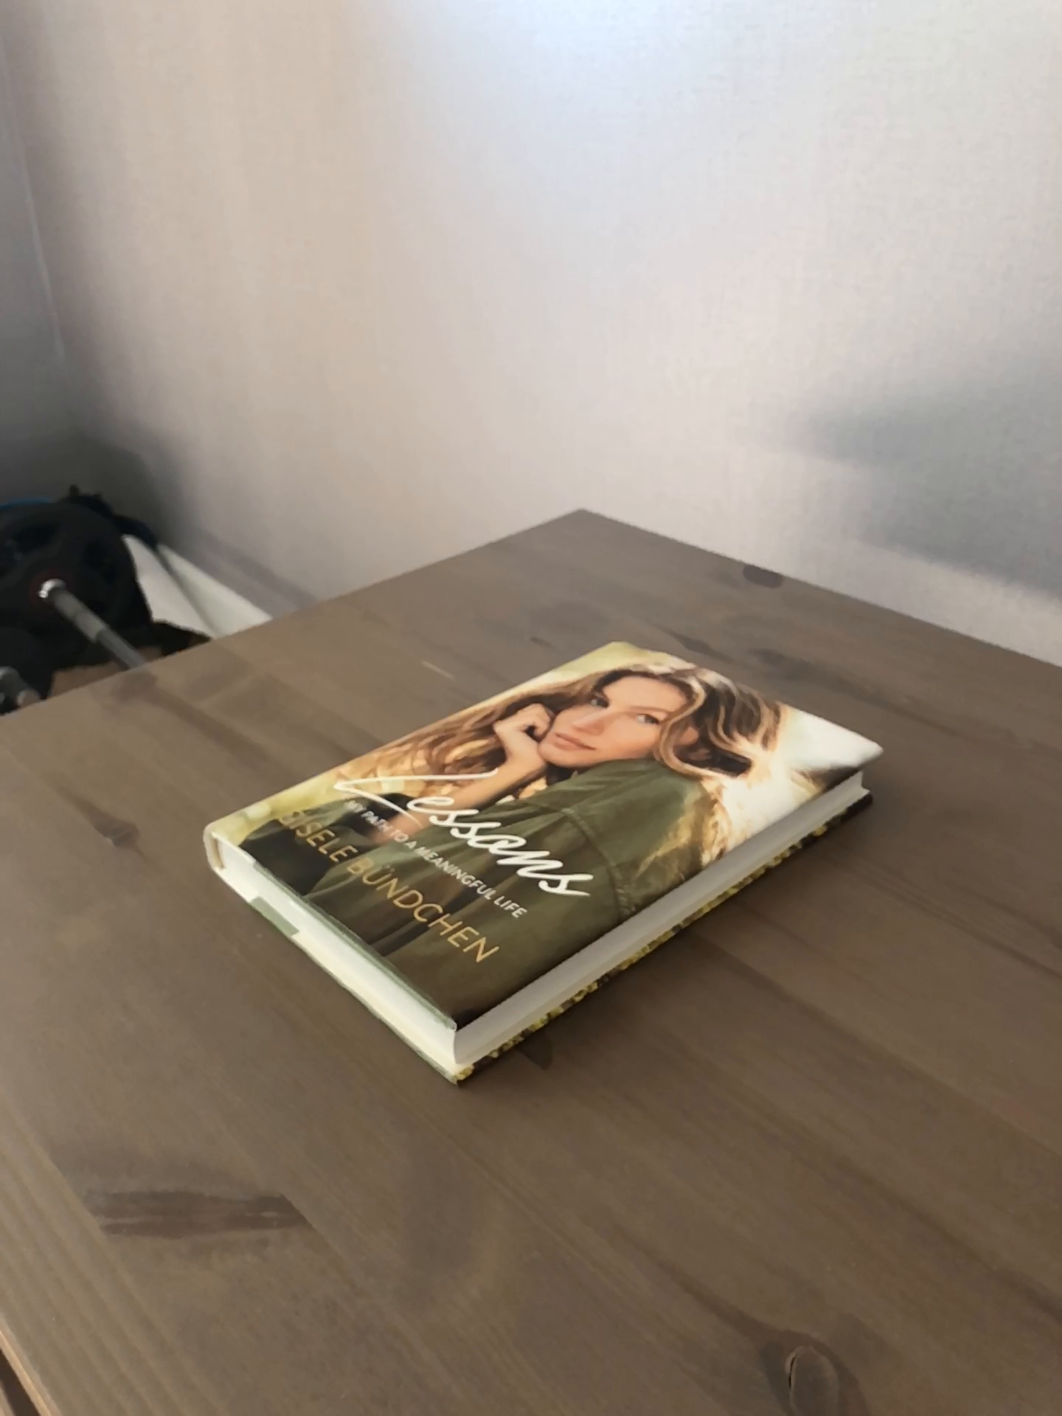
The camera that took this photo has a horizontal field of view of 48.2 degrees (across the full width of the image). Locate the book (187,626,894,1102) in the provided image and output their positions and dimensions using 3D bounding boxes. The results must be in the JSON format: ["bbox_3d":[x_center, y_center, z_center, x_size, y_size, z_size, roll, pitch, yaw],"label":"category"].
[{"bbox_3d":[0.008,0.039,0.470,0.228,0.030,0.160,-25,37,-36],"label":"book"}]
